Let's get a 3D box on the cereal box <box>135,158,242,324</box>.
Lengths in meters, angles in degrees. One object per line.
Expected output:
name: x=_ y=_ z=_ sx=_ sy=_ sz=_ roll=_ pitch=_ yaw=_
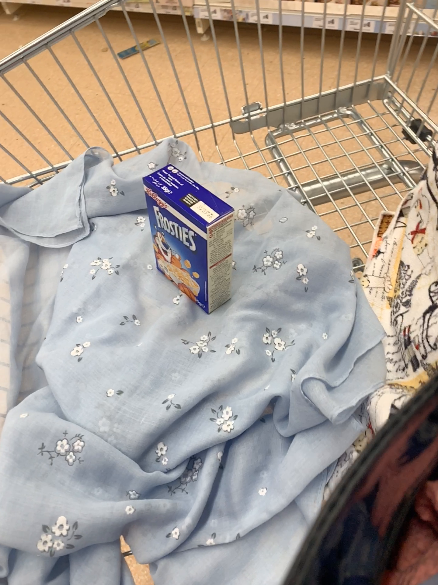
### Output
cereal box: x=-0.027 y=-0.048 z=0.443 sx=0.040 sy=0.129 sz=0.101 roll=-35 pitch=57 yaw=-24
